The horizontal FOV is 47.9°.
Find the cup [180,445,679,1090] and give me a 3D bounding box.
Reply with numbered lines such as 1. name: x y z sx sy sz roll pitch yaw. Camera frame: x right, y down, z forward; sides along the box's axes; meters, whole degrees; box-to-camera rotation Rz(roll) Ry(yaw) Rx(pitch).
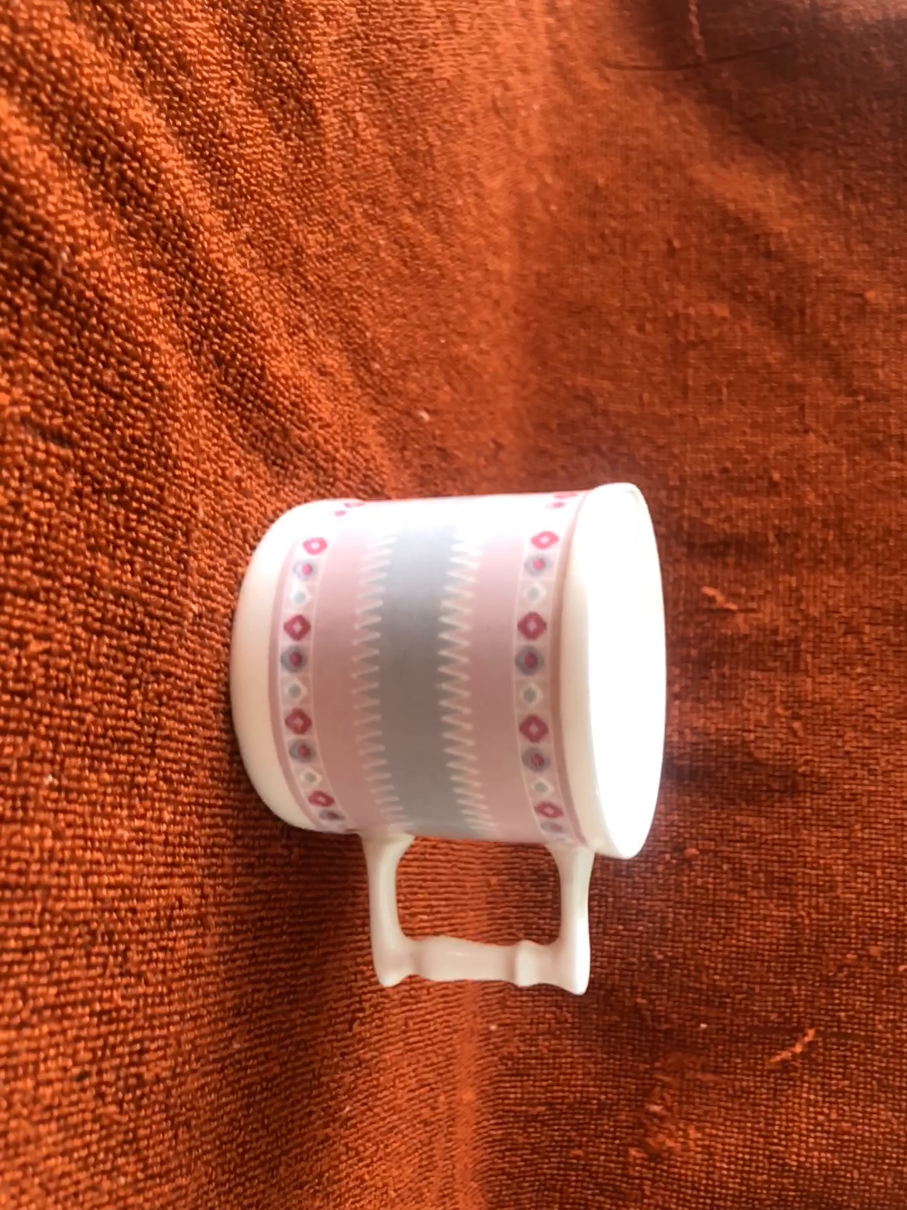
1. cup: 0.000 0.023 0.183 0.060 0.070 0.090 5 86 -69
